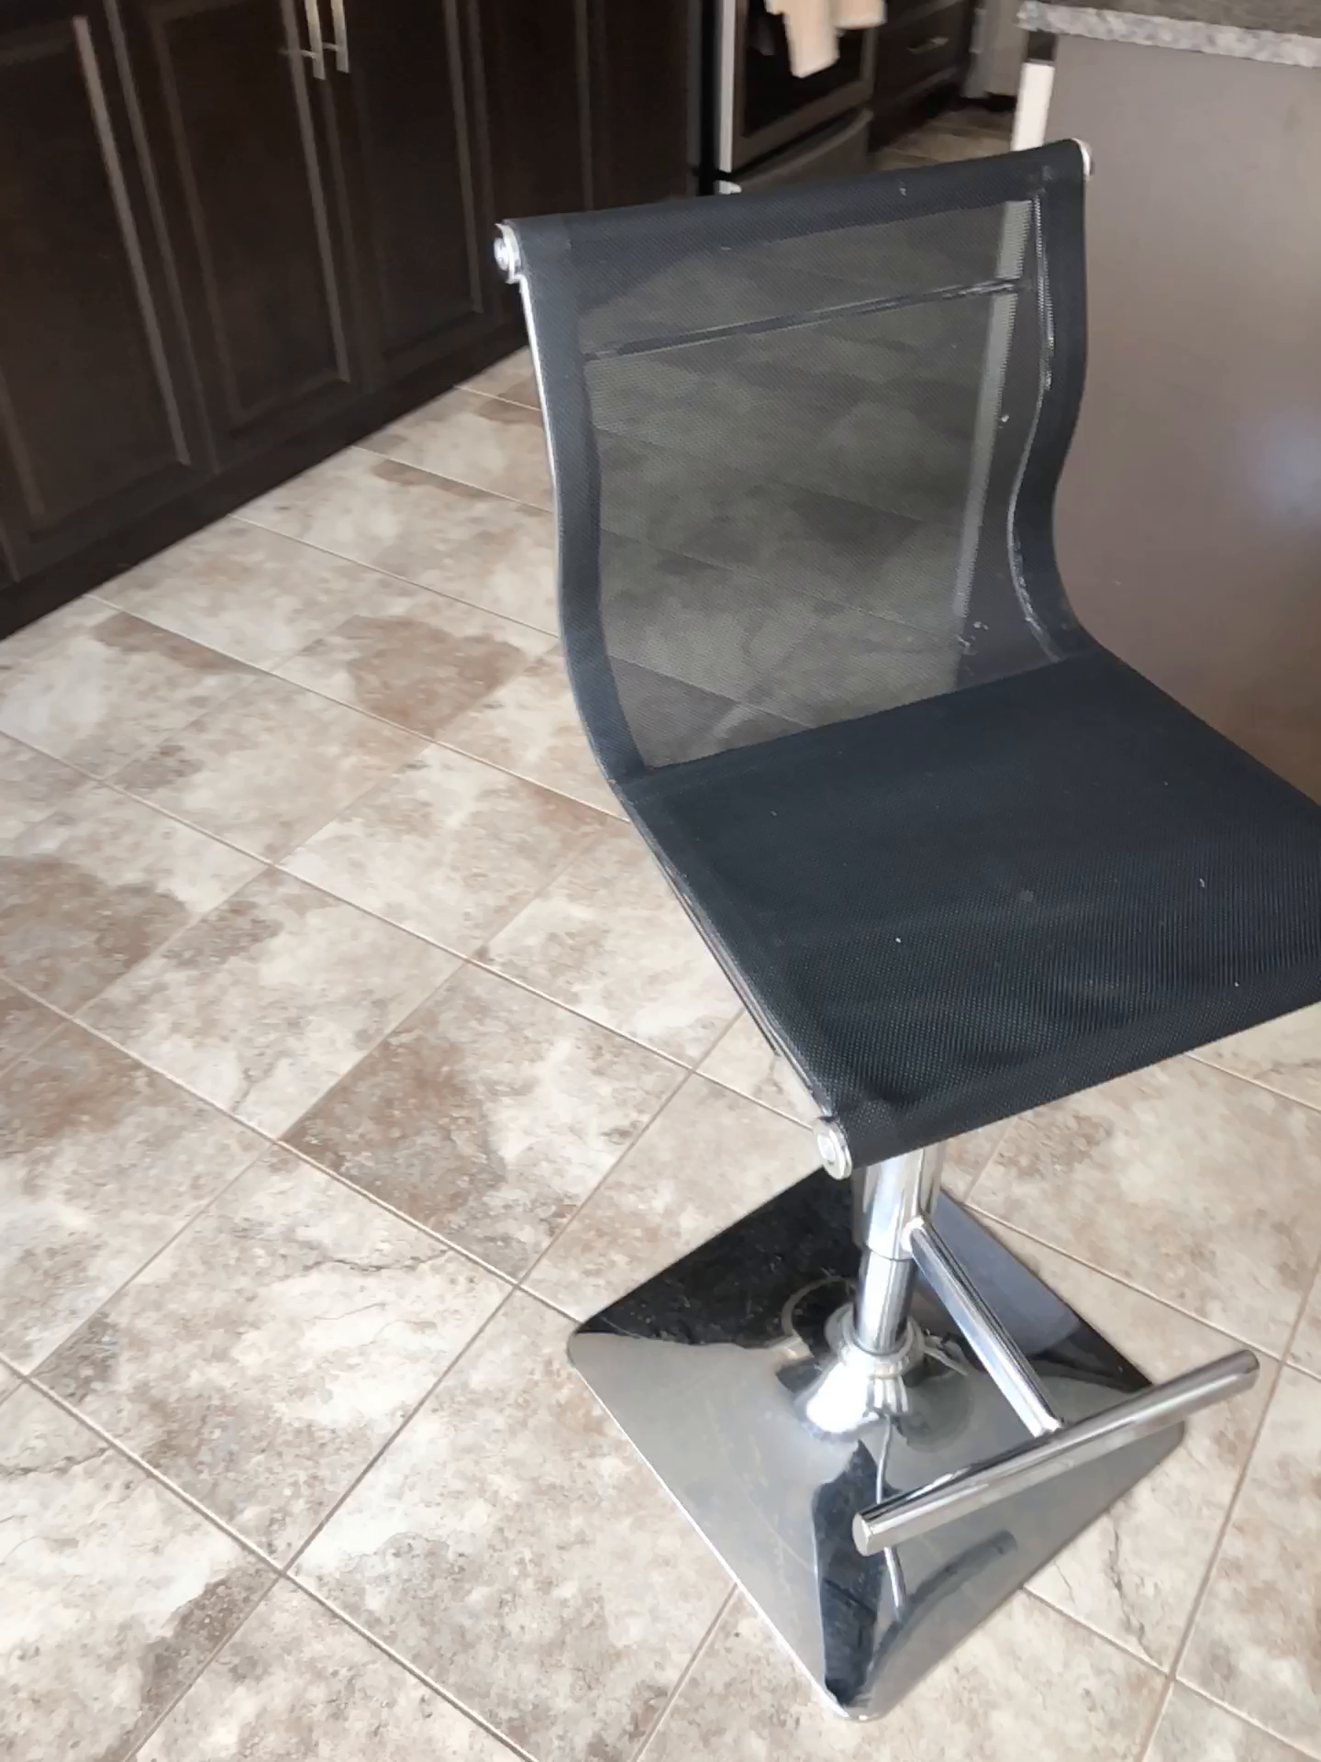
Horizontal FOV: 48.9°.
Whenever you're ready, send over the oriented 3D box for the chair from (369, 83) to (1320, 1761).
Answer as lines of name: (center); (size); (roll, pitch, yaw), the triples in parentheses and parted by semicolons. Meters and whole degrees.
chair: (0.198, 0.076, 1.015); (0.540, 0.976, 0.552); (-16, 43, -17)
